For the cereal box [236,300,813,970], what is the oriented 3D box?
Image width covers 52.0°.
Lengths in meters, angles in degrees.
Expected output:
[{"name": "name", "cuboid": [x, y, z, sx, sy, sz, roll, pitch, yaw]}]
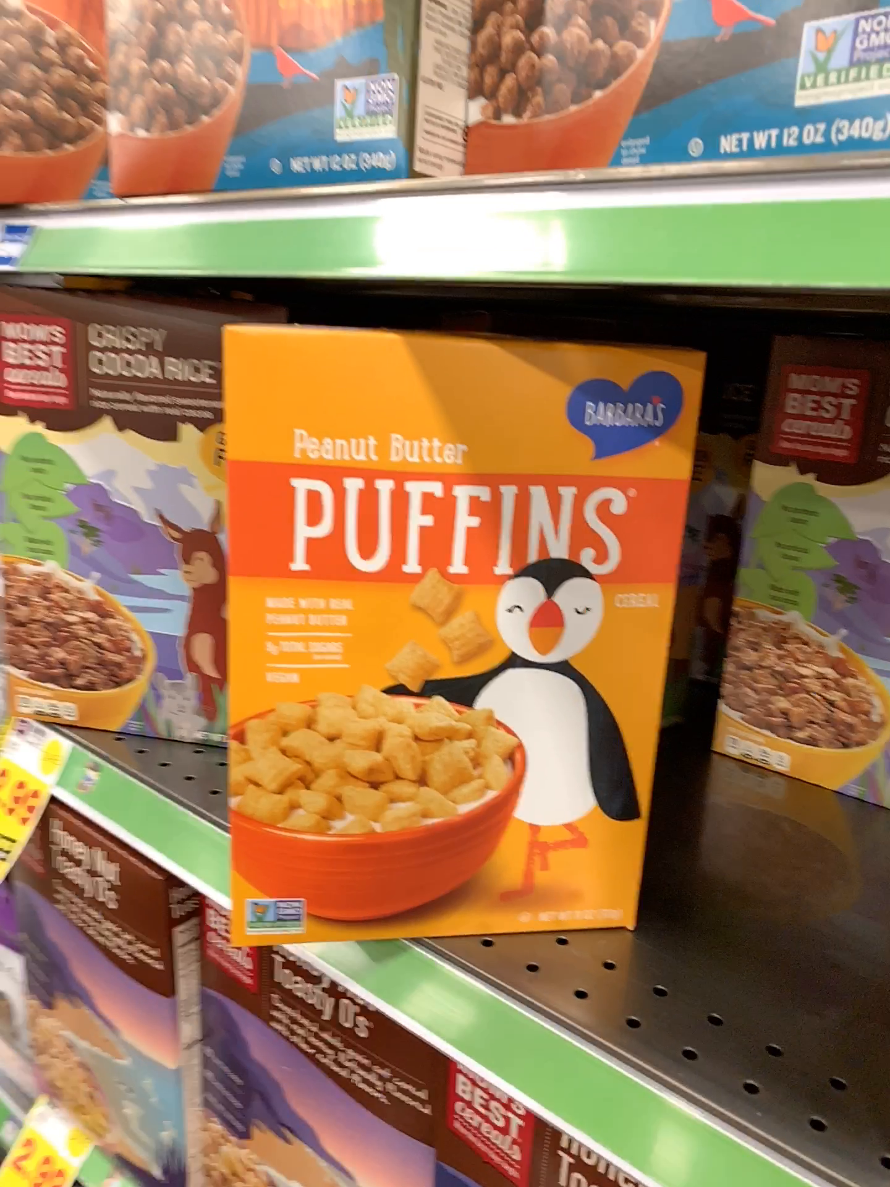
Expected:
[{"name": "cereal box", "cuboid": [0.023, 0.024, 0.407, 0.220, 0.279, 0.060, 2, 15, -9]}]
